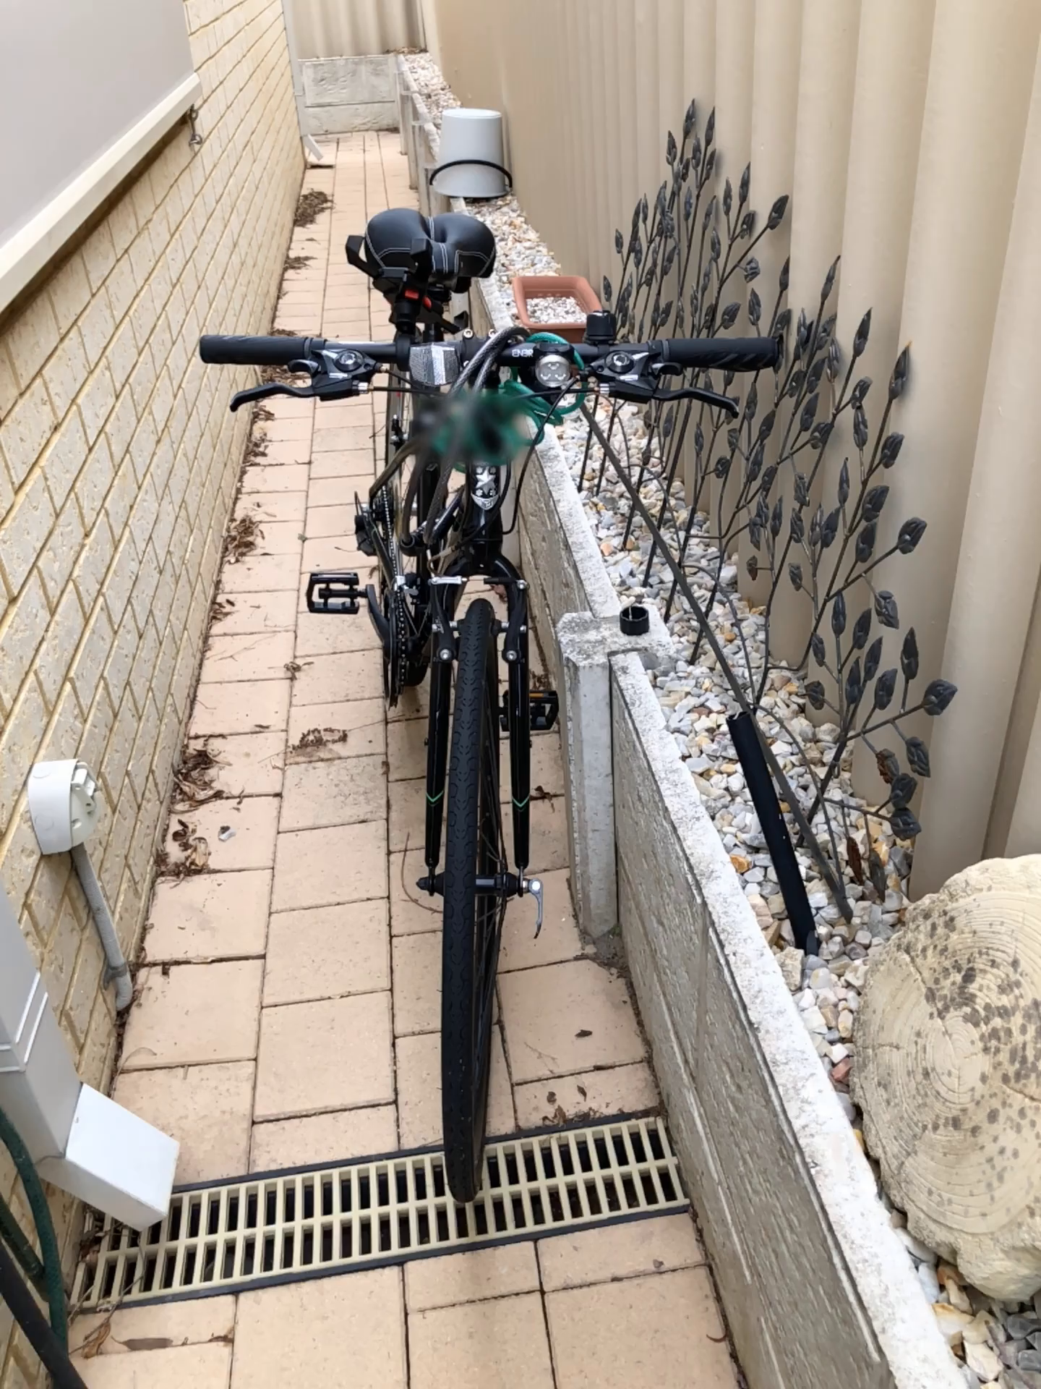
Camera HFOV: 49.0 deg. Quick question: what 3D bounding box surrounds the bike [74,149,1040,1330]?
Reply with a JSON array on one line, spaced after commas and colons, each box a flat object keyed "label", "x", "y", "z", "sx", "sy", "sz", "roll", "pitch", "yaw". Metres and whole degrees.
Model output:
[{"label": "bike", "x": -0.056, "y": -0.195, "z": 1.688, "sx": 0.637, "sy": 0.859, "sz": 1.708, "roll": -6, "pitch": 33, "yaw": -5}]
